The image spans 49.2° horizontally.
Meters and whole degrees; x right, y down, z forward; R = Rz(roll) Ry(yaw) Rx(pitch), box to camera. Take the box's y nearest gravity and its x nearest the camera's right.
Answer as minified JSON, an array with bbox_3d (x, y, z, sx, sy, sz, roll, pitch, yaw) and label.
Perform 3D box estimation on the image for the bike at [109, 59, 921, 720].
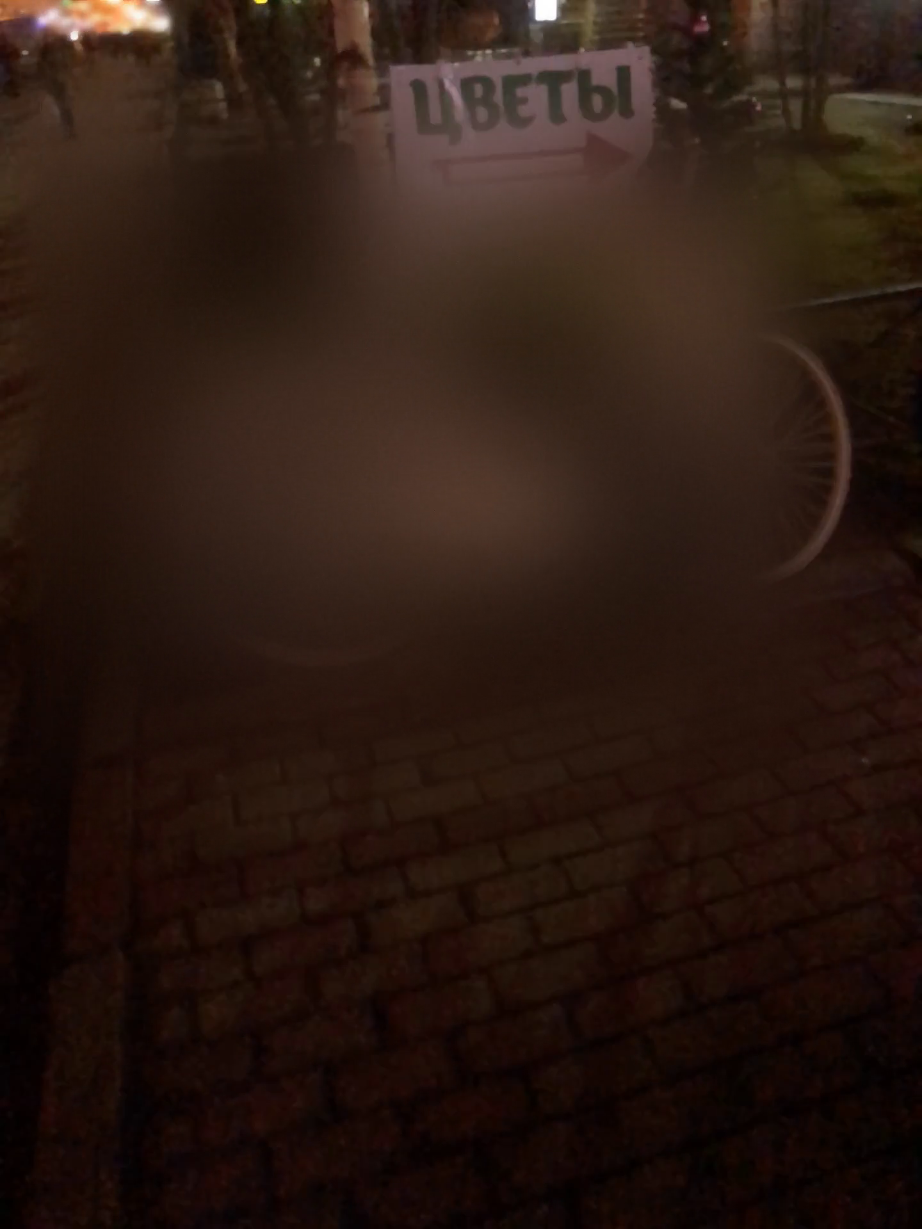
[{"bbox_3d":[0.150,-0.630,2.583,1.829,1.118,0.609,-15,32,-12],"label":"bike"}]
